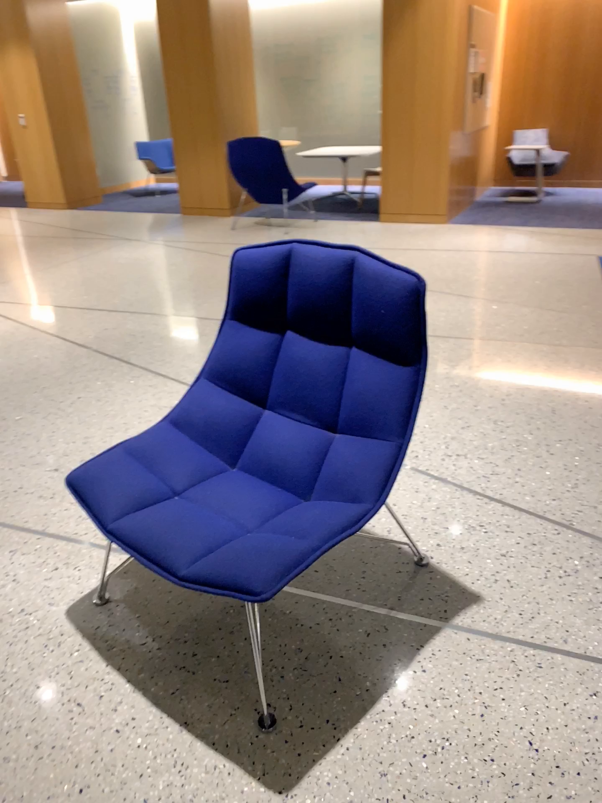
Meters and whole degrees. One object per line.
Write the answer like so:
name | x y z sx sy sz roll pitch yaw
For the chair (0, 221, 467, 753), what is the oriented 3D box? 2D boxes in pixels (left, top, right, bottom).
chair | -0.171 0.083 1.640 0.857 0.894 0.797 18 33 37
